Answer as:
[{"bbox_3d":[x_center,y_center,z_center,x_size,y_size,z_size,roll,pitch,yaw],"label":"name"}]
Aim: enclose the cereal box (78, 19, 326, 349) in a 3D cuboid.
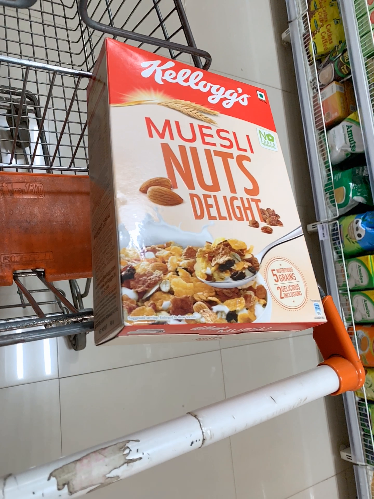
[{"bbox_3d":[0.005,-0.055,0.368,0.191,0.080,0.270,4,68,-30],"label":"cereal box"}]
